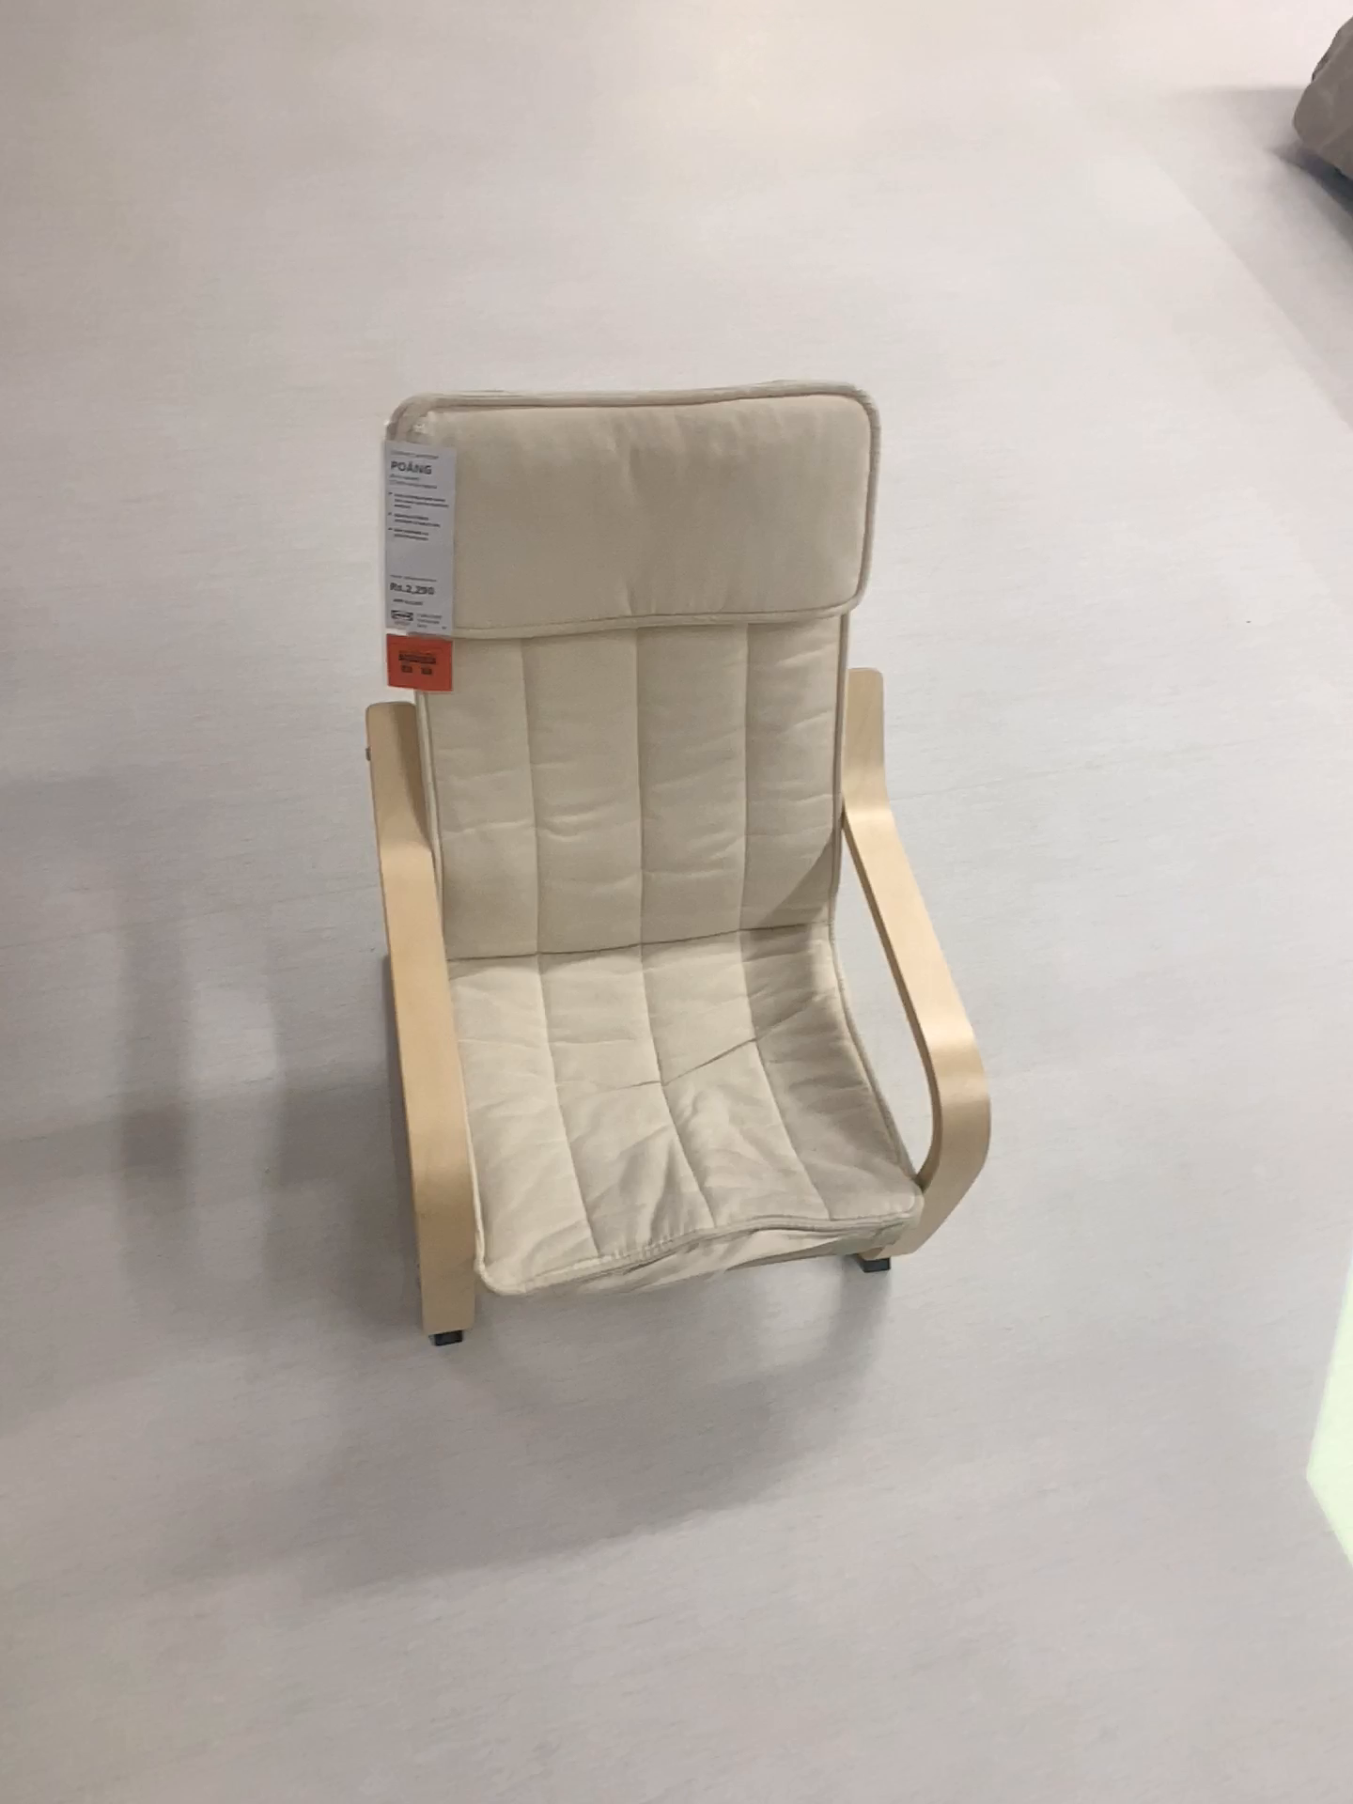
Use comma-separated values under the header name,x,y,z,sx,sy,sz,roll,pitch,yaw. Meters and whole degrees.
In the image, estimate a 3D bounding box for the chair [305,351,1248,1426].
name,x,y,z,sx,sy,sz,roll,pitch,yaw
chair,-0.016,0.040,1.208,0.490,0.798,0.541,-7,58,-13
